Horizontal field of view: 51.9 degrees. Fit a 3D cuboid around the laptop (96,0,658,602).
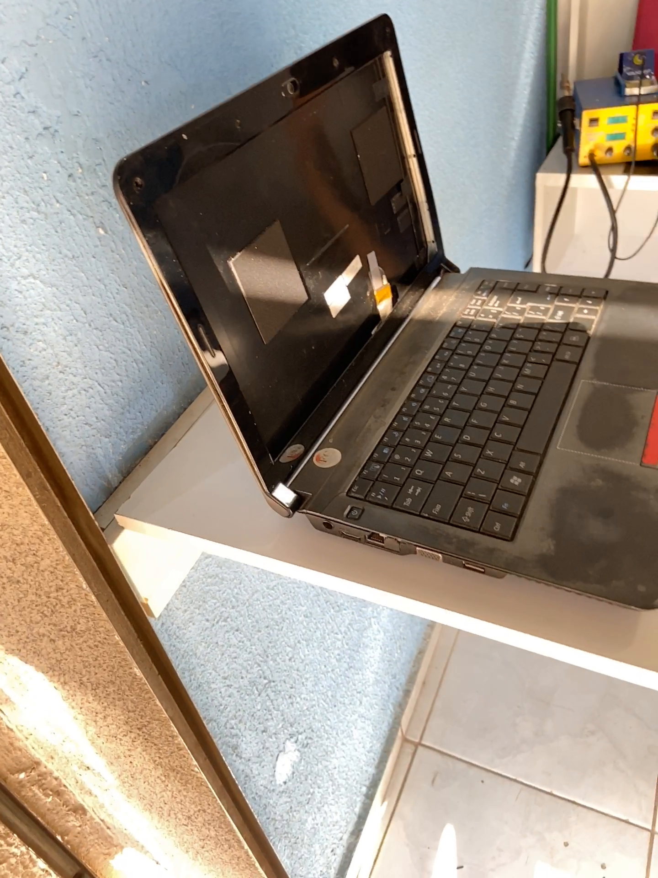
[{"bbox_3d":[0.103,-0.126,0.452,0.276,0.216,0.336,12,44,25],"label":"laptop"}]
